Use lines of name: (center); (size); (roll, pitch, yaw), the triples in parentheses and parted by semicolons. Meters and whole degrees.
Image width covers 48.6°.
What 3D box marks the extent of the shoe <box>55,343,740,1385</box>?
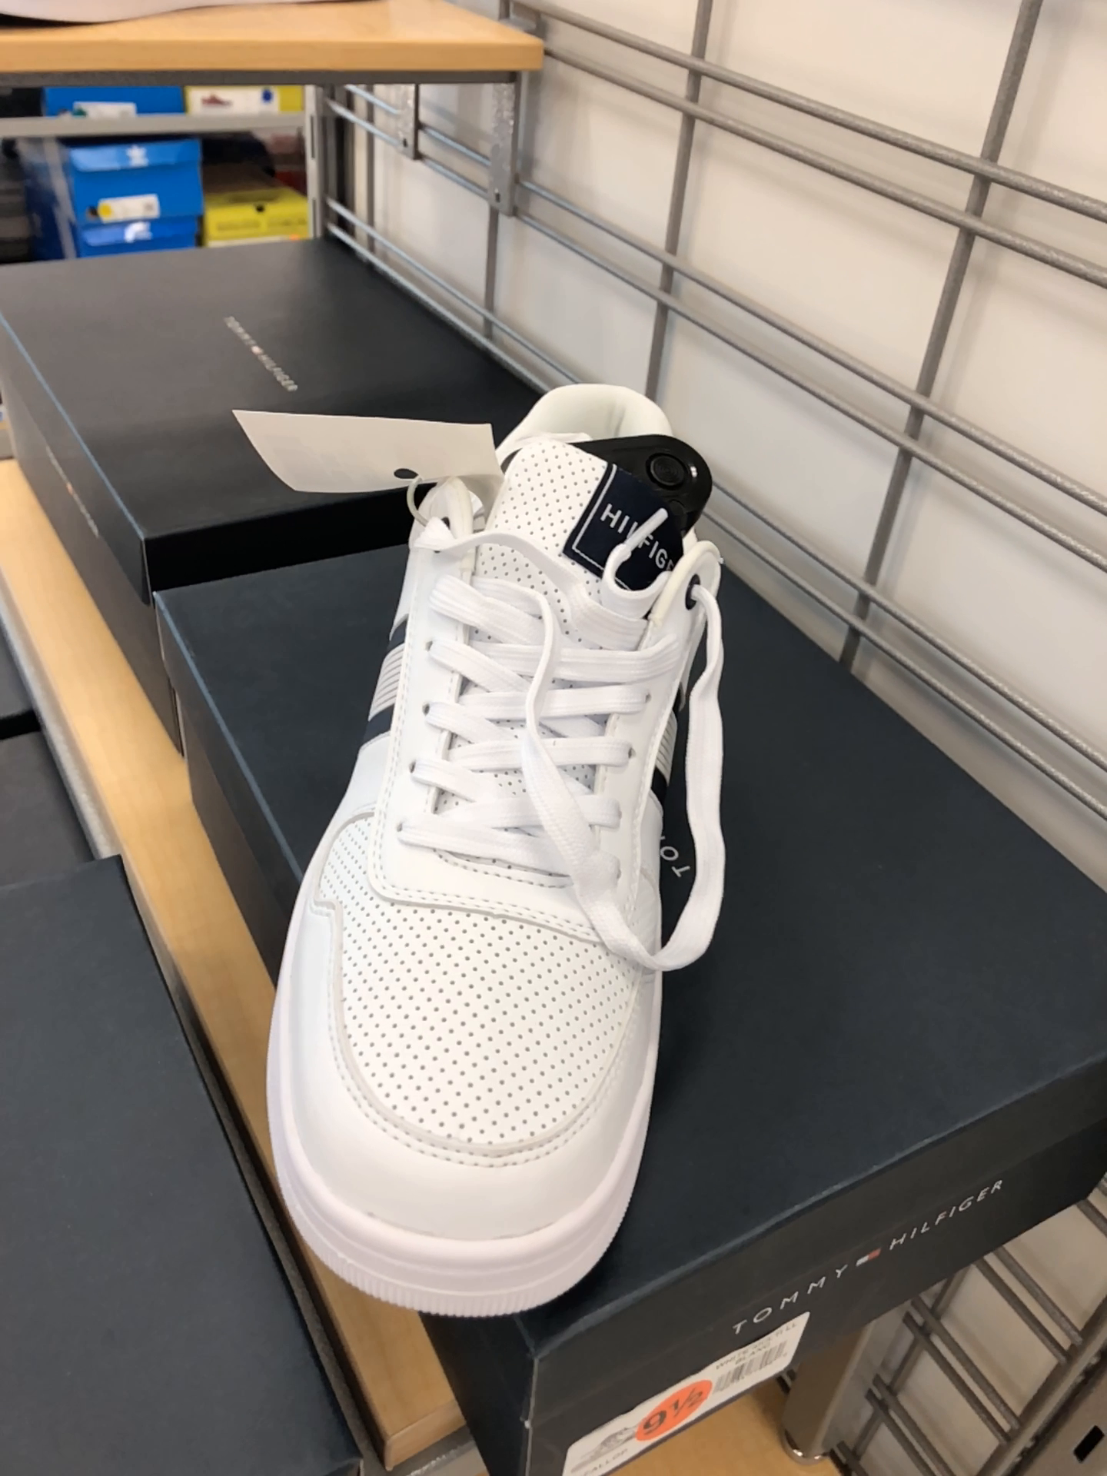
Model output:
shoe: (-0.014, 0.001, 0.340); (0.110, 0.109, 0.282); (9, 38, 2)
